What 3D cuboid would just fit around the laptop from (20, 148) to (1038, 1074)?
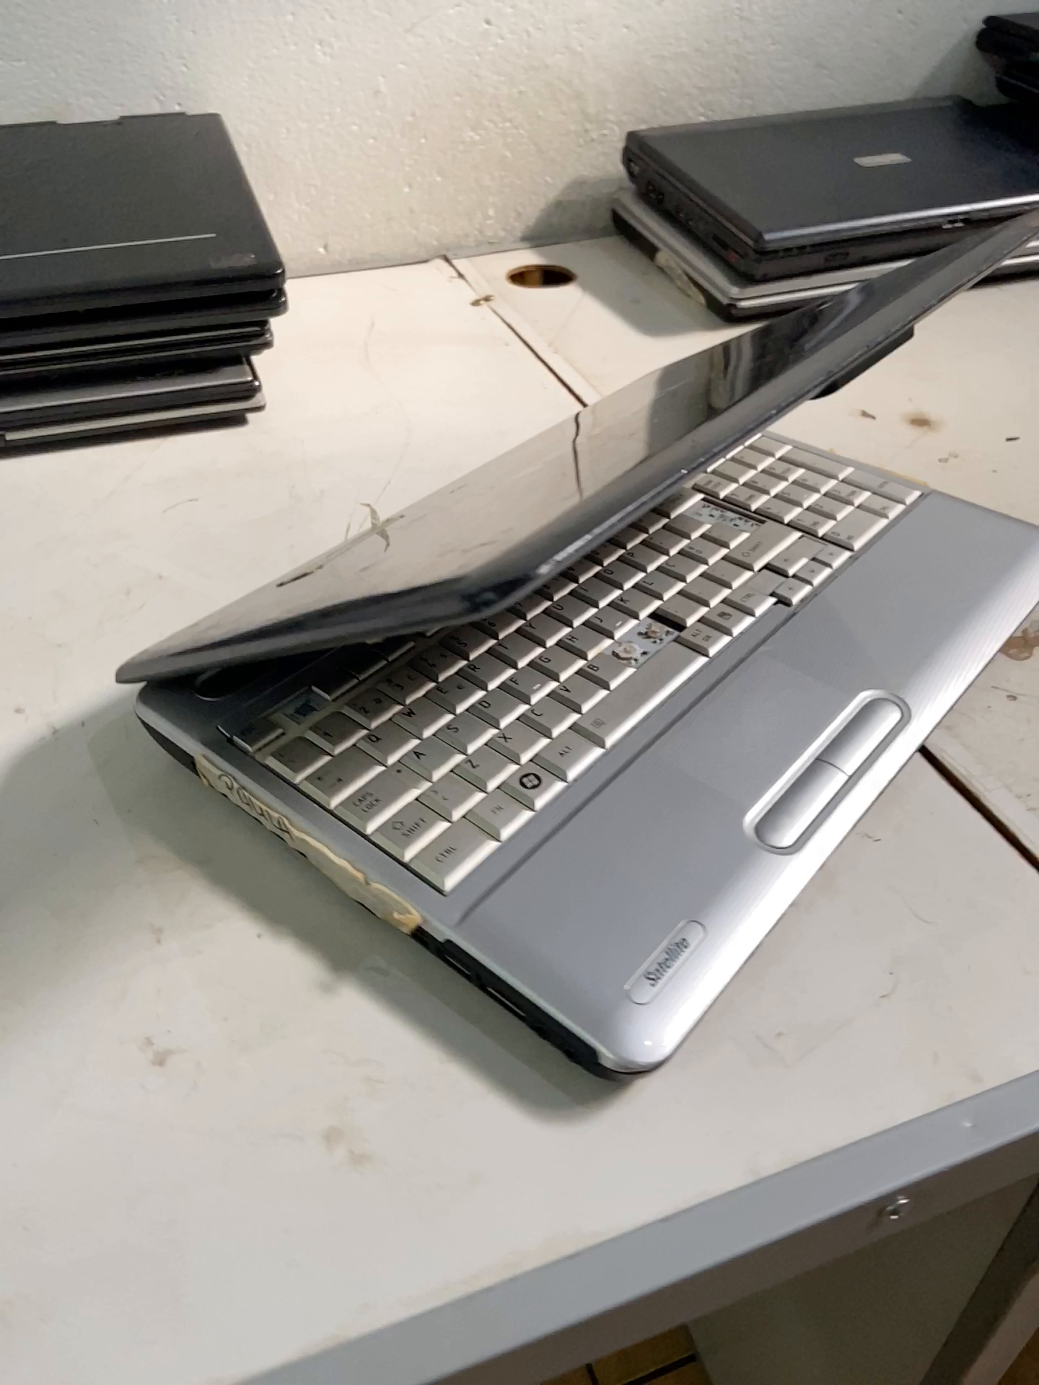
[{"bbox_3d":[0.054,-0.090,0.440,0.256,0.143,0.373,29,47,29],"label":"laptop"}]
